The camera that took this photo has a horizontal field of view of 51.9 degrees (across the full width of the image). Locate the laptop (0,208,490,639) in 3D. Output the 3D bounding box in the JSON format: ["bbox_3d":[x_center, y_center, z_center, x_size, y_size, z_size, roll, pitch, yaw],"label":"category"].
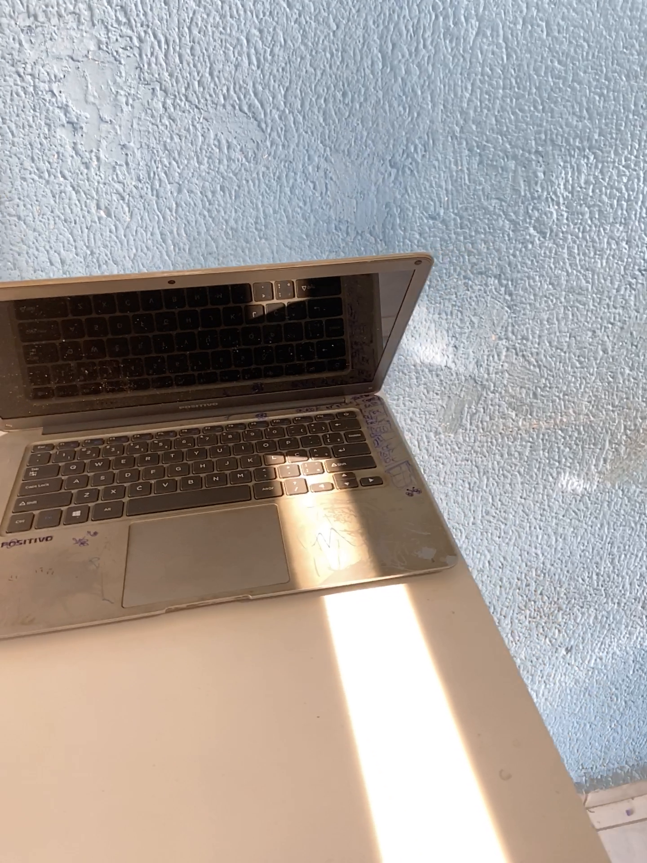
[{"bbox_3d":[-0.092,-0.026,0.452,0.326,0.167,0.213,-6,34,-8],"label":"laptop"}]
